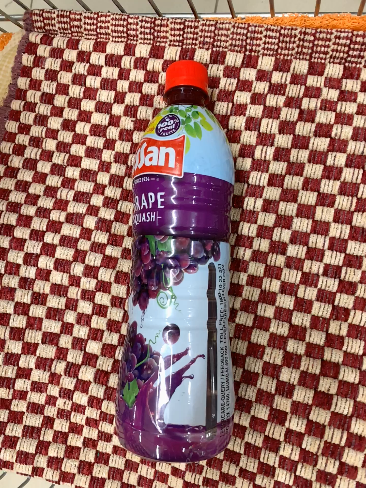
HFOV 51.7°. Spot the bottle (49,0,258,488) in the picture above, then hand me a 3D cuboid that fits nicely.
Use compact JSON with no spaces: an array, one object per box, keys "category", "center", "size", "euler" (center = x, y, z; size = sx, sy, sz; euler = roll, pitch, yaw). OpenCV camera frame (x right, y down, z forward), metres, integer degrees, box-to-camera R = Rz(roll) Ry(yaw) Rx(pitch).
[{"category":"bottle","center":[-0.018,-0.005,0.227],"size":[0.080,0.080,0.240],"euler":[6,85,-36]}]
